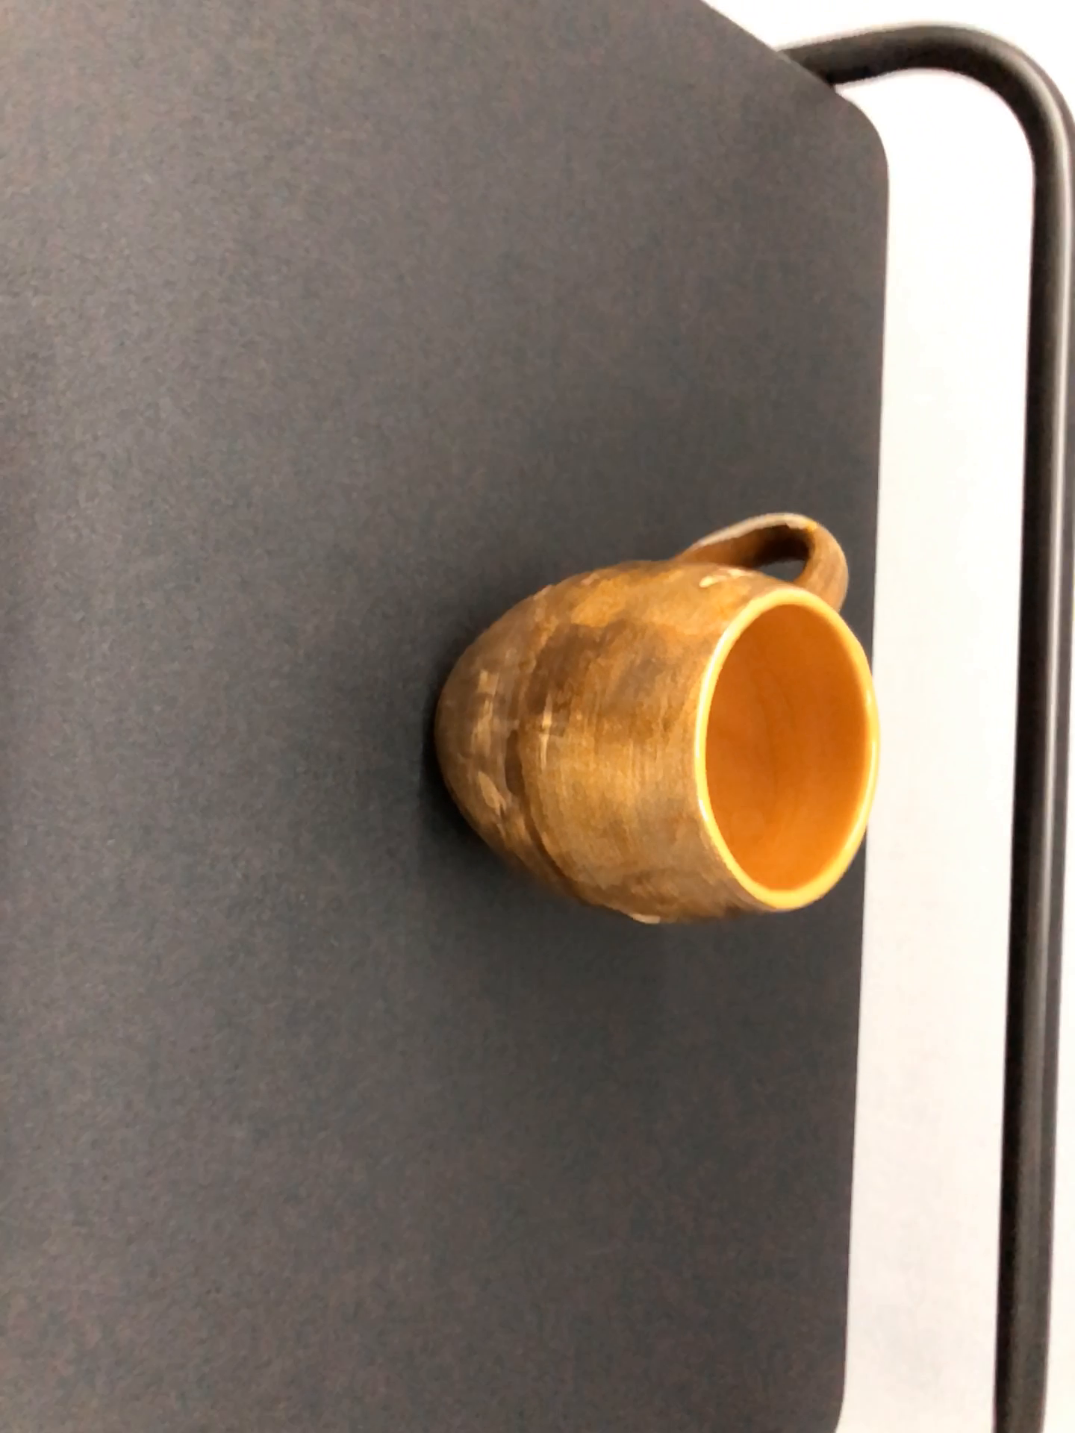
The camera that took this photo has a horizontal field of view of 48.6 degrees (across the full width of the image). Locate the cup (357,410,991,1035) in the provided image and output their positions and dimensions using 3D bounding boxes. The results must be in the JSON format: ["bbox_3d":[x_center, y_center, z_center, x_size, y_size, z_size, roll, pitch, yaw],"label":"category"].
[{"bbox_3d":[0.044,-0.003,0.327,0.132,0.092,0.092,-48,122,-32],"label":"cup"}]
